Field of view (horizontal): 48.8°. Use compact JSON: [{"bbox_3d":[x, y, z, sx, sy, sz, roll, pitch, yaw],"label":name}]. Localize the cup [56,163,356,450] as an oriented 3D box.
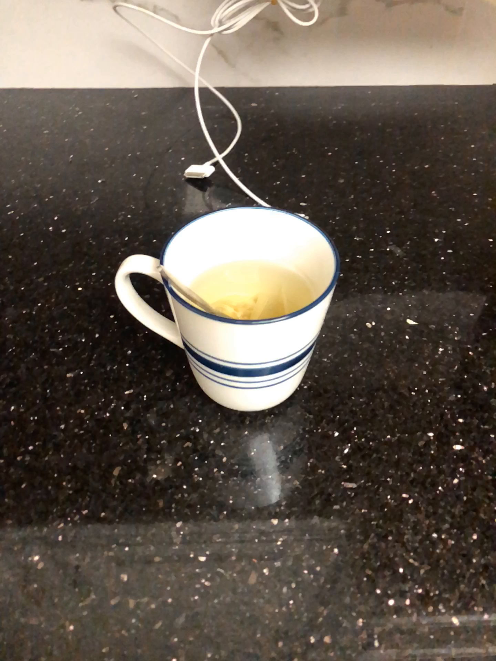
[{"bbox_3d":[-0.016,-0.014,0.300,0.120,0.099,0.090,14,50,12],"label":"cup"}]
